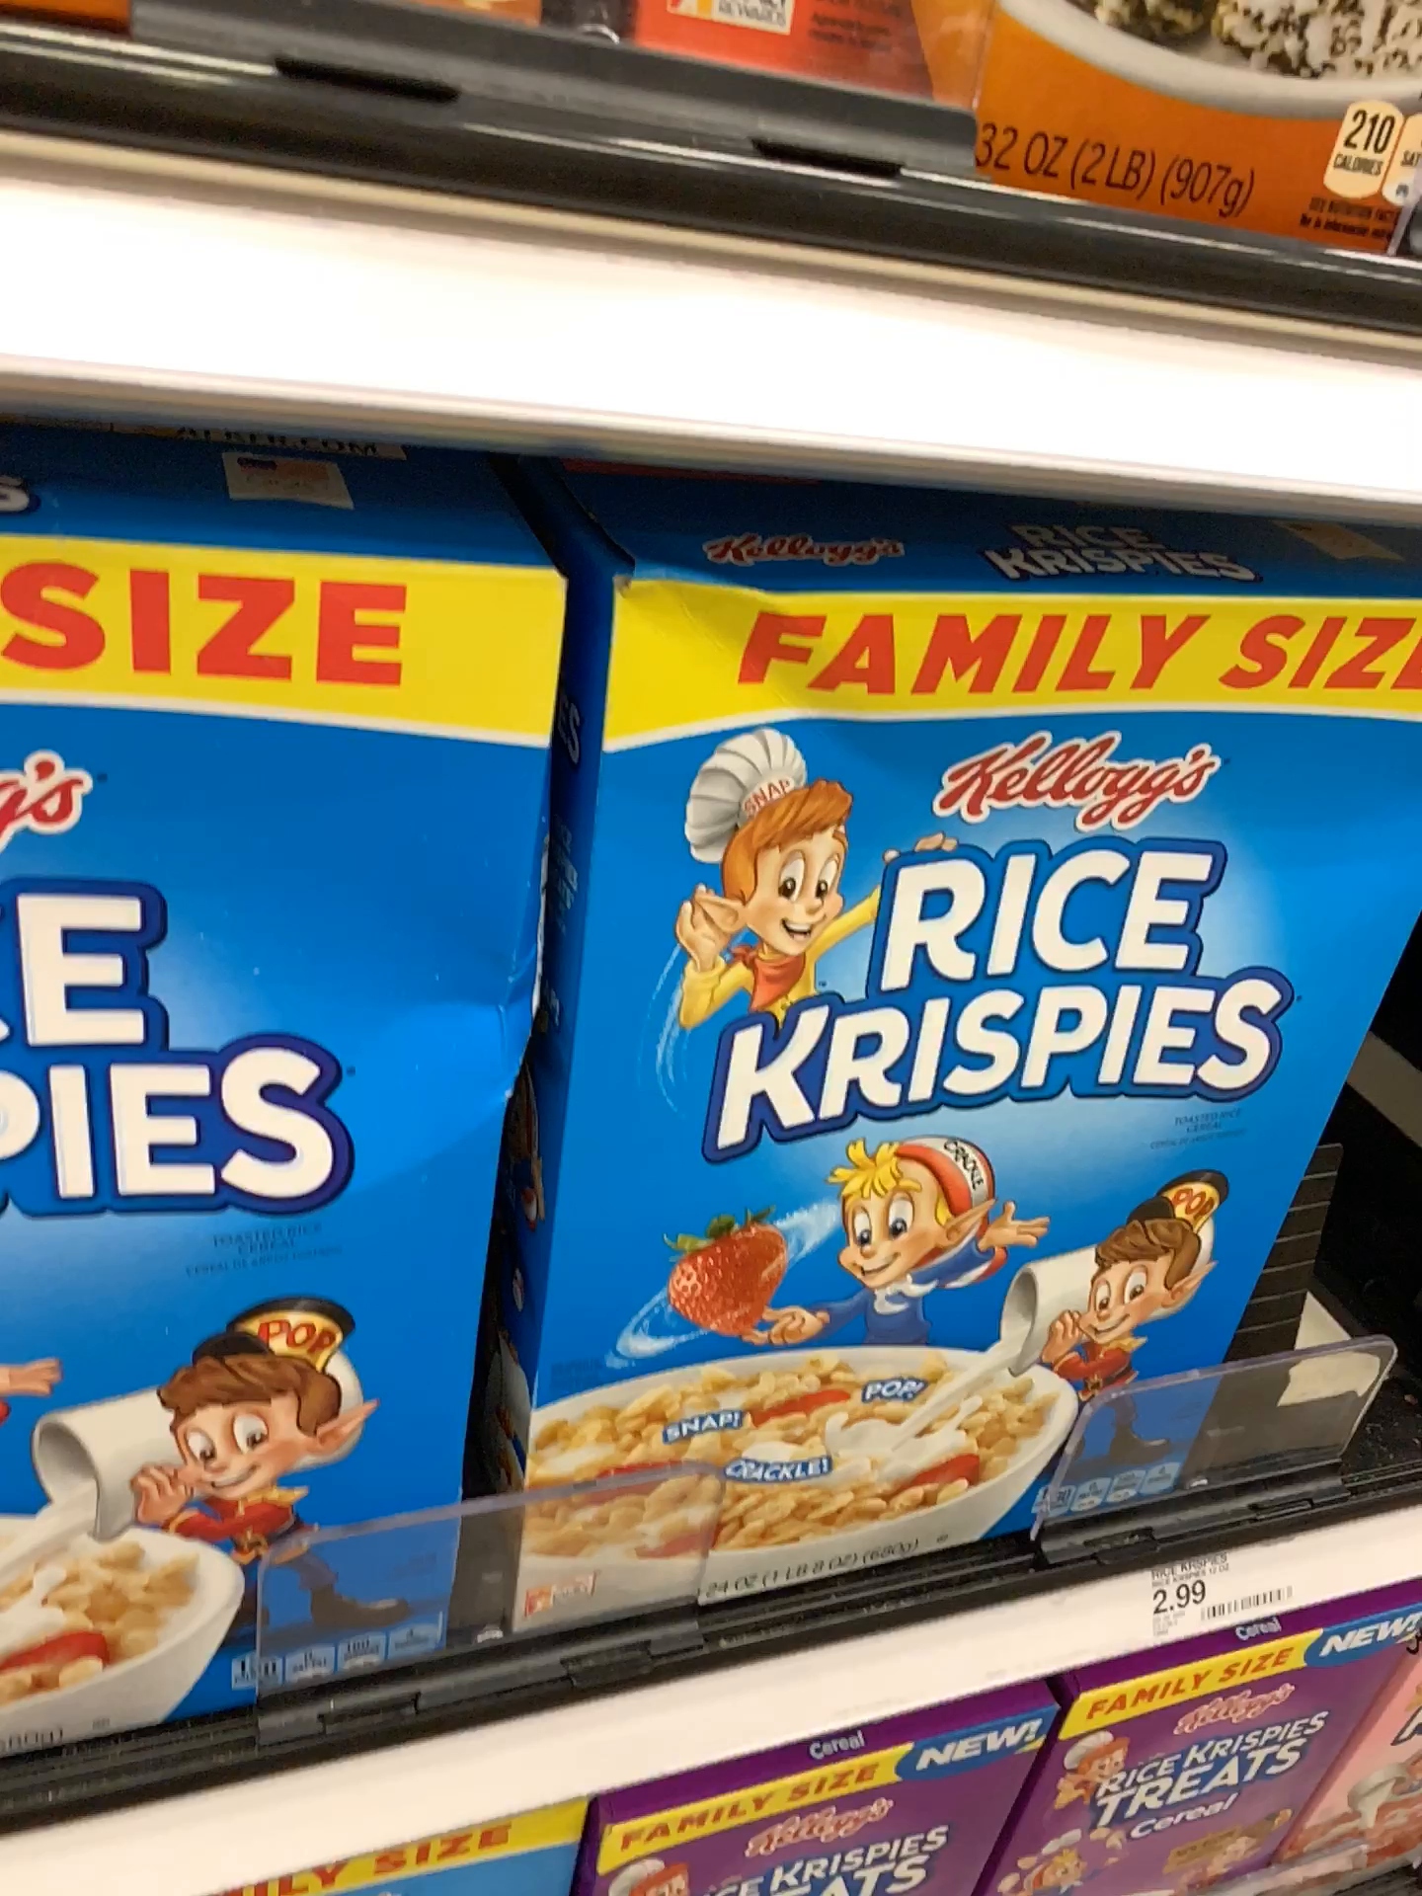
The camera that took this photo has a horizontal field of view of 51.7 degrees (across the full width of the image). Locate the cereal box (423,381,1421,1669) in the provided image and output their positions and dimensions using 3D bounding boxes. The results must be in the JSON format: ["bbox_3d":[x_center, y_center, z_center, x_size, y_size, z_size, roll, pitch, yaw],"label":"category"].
[{"bbox_3d":[0.060,0.034,0.441,0.250,0.348,0.100,-4,33,-23],"label":"cereal box"}]
